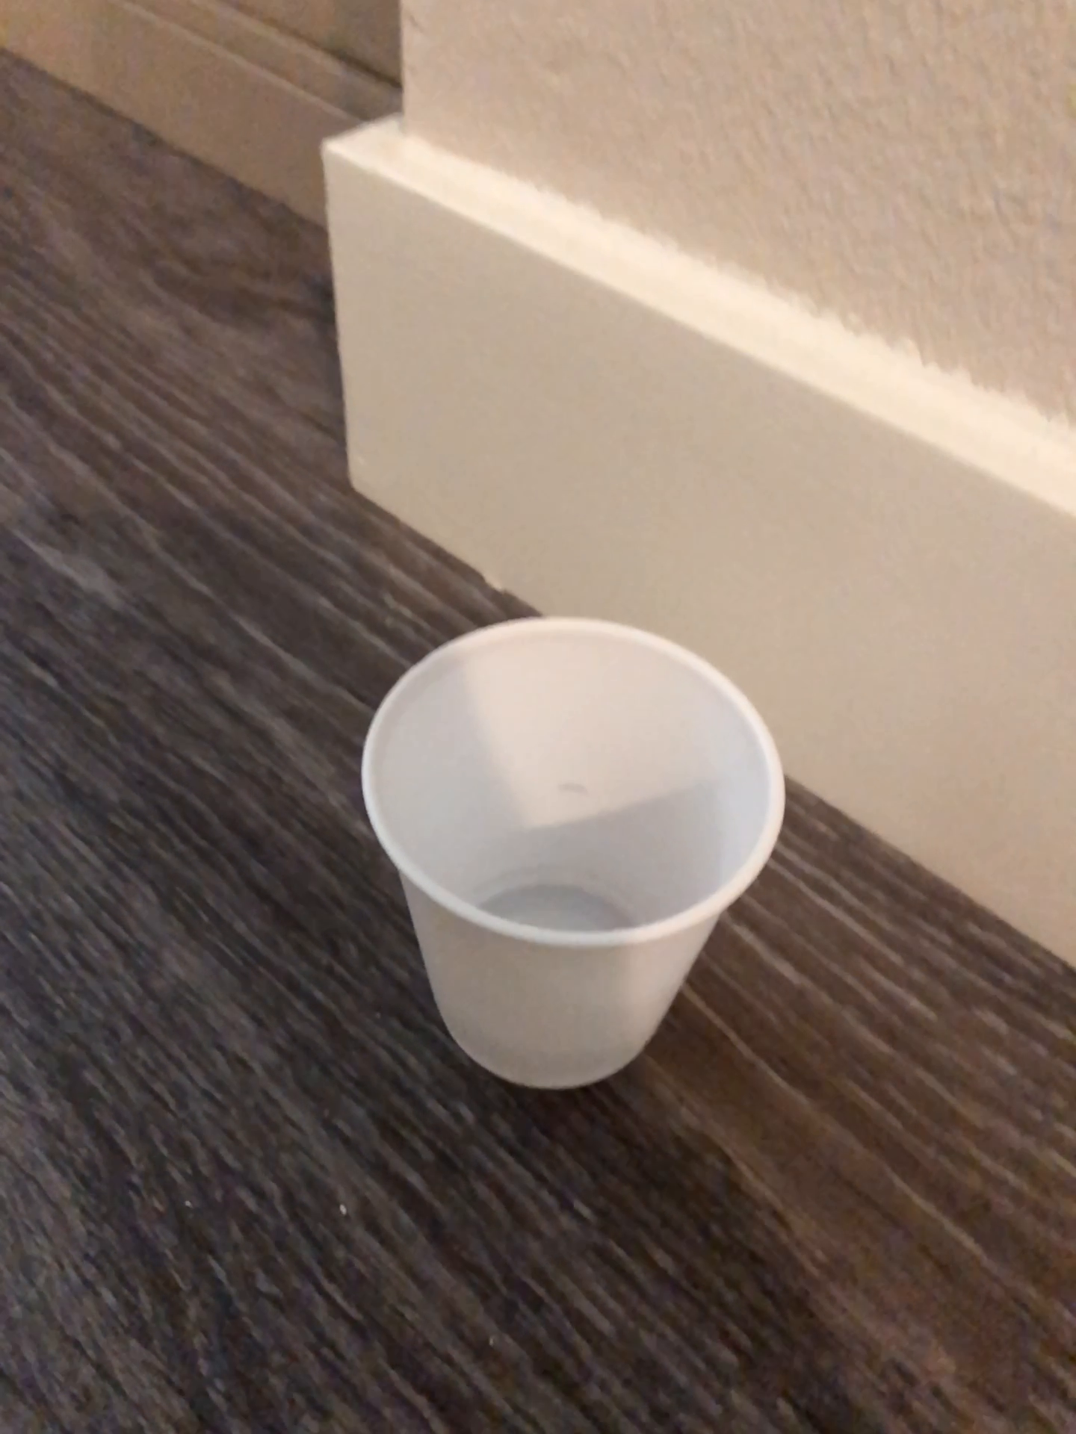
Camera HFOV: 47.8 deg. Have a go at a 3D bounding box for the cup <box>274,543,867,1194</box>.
[{"bbox_3d":[0.001,0.022,0.186,0.060,0.060,0.060,2,47,-2],"label":"cup"}]
